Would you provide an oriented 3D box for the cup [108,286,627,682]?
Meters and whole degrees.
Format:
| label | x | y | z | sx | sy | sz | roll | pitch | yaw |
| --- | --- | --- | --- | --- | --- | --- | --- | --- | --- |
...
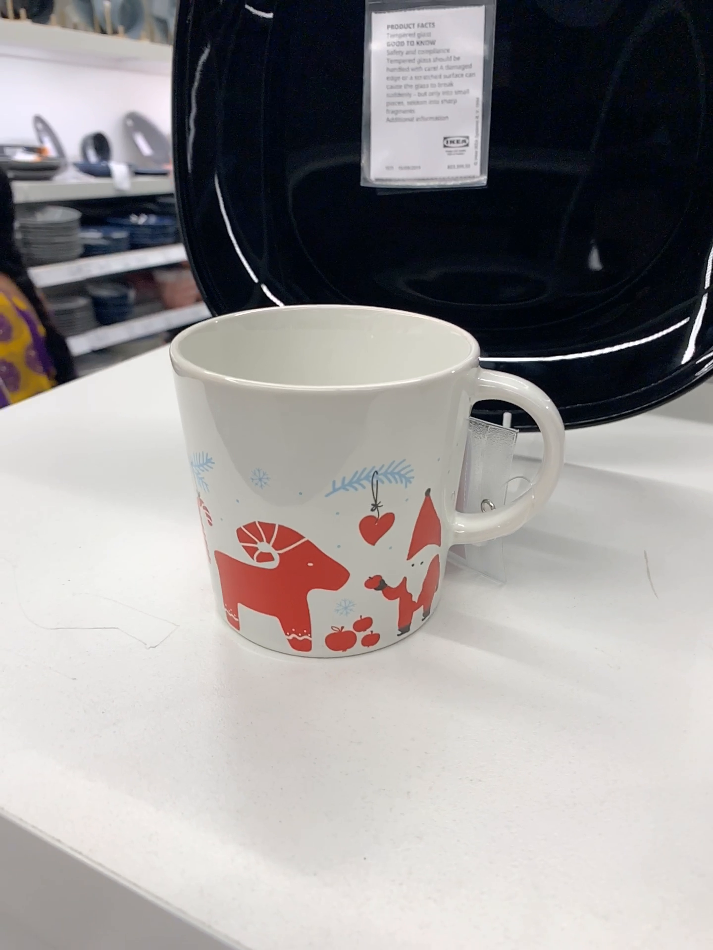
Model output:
| label | x | y | z | sx | sy | sz | roll | pitch | yaw |
| --- | --- | --- | --- | --- | --- | --- | --- | --- | --- |
| cup | 0.003 | -0.004 | 0.230 | 0.120 | 0.090 | 0.090 | 2 | 24 | 1 |
